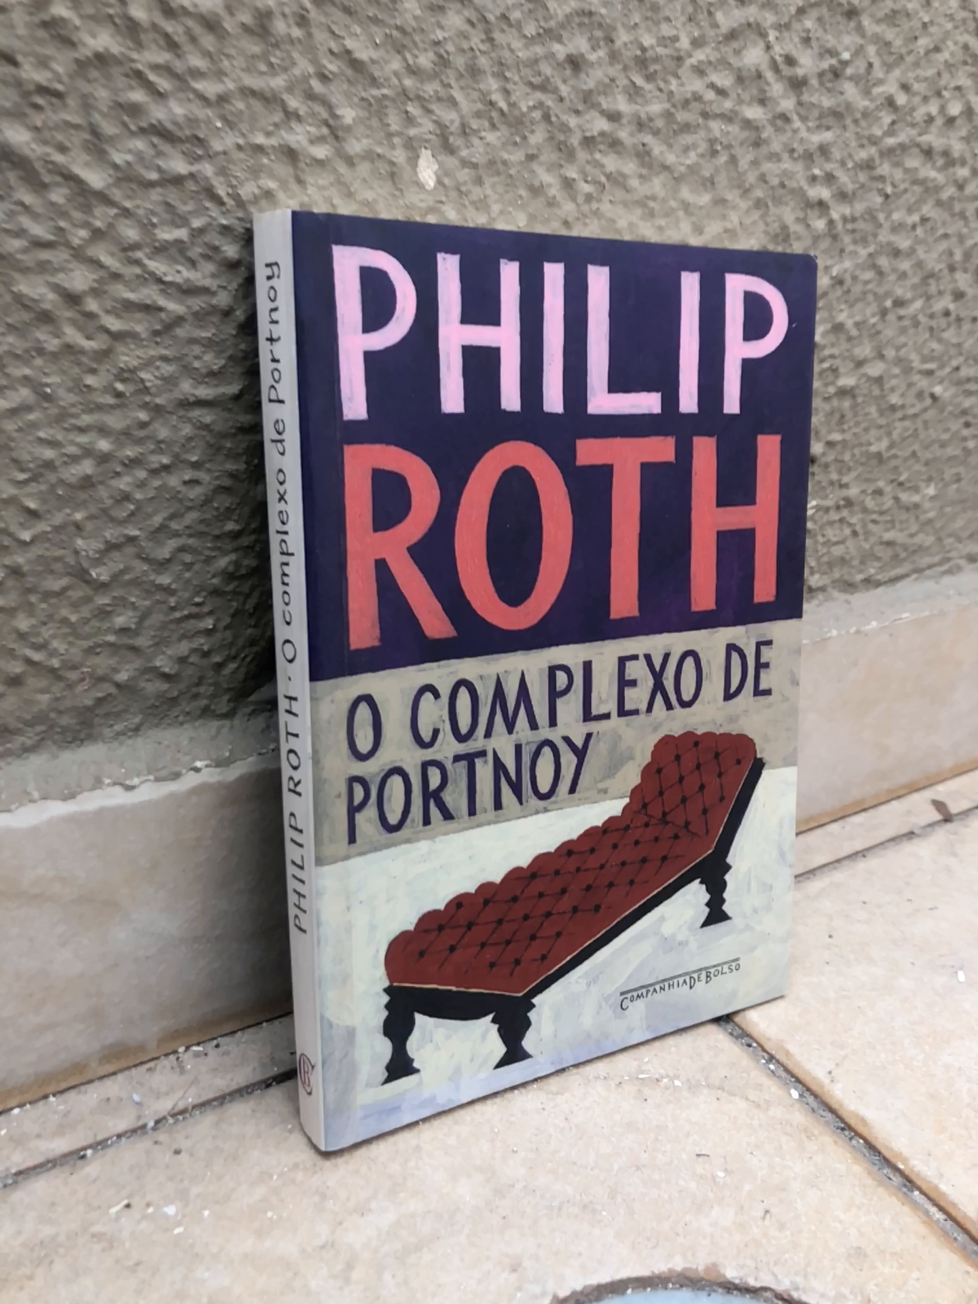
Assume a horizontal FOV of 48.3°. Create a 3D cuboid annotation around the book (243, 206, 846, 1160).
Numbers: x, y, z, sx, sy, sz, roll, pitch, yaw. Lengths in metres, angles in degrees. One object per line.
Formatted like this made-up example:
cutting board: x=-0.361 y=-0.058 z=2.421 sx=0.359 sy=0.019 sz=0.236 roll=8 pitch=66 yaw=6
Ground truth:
book: x=0.017 y=0.005 z=0.237 sx=0.126 sy=0.179 sz=0.023 roll=-8 pitch=15 yaw=-28
